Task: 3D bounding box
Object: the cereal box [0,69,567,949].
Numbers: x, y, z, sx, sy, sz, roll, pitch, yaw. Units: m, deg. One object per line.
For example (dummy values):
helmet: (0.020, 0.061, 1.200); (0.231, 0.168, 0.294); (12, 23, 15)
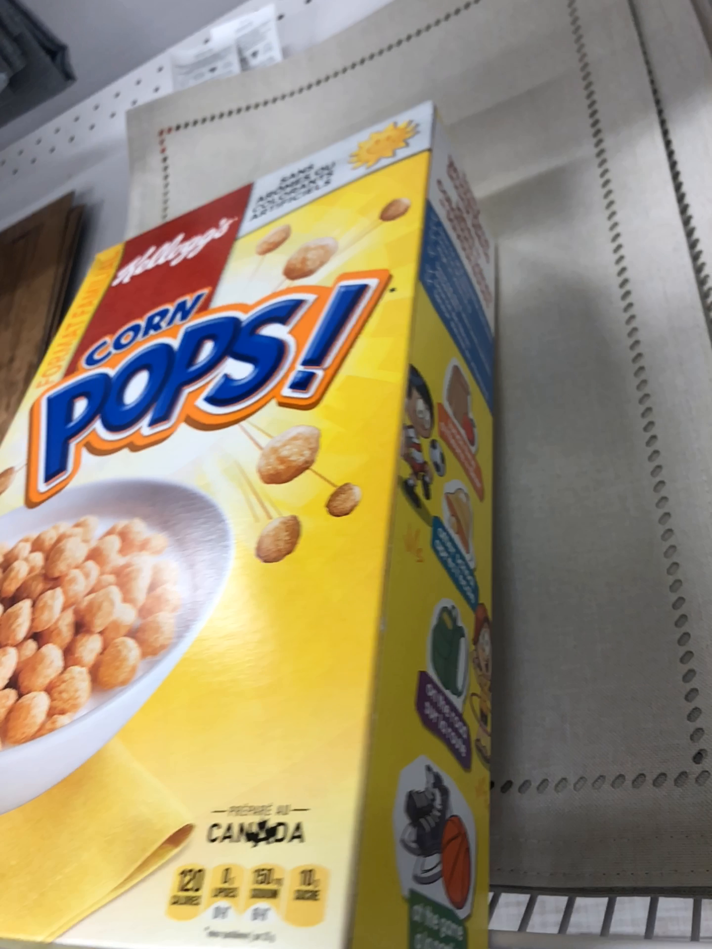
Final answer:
cereal box: (-0.048, -0.001, 0.321); (0.220, 0.080, 0.341); (-12, 49, 23)
